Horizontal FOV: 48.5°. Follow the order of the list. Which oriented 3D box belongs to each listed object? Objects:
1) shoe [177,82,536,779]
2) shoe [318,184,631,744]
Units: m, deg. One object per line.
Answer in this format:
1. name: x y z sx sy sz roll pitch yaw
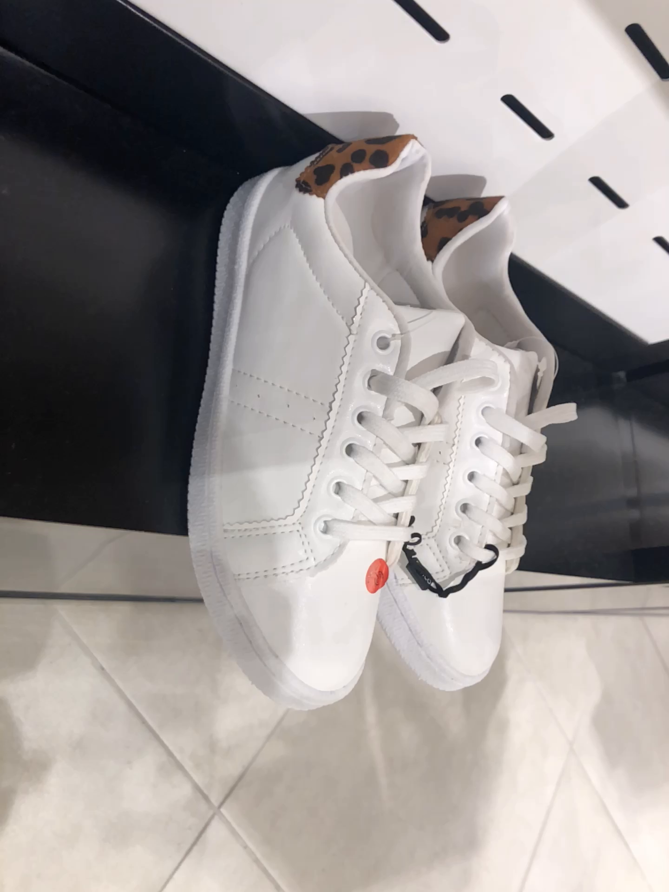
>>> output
1. shoe: 0.009 -0.003 0.297 0.091 0.099 0.220 10 76 -45
2. shoe: 0.065 0.010 0.357 0.091 0.099 0.220 3 81 -46
